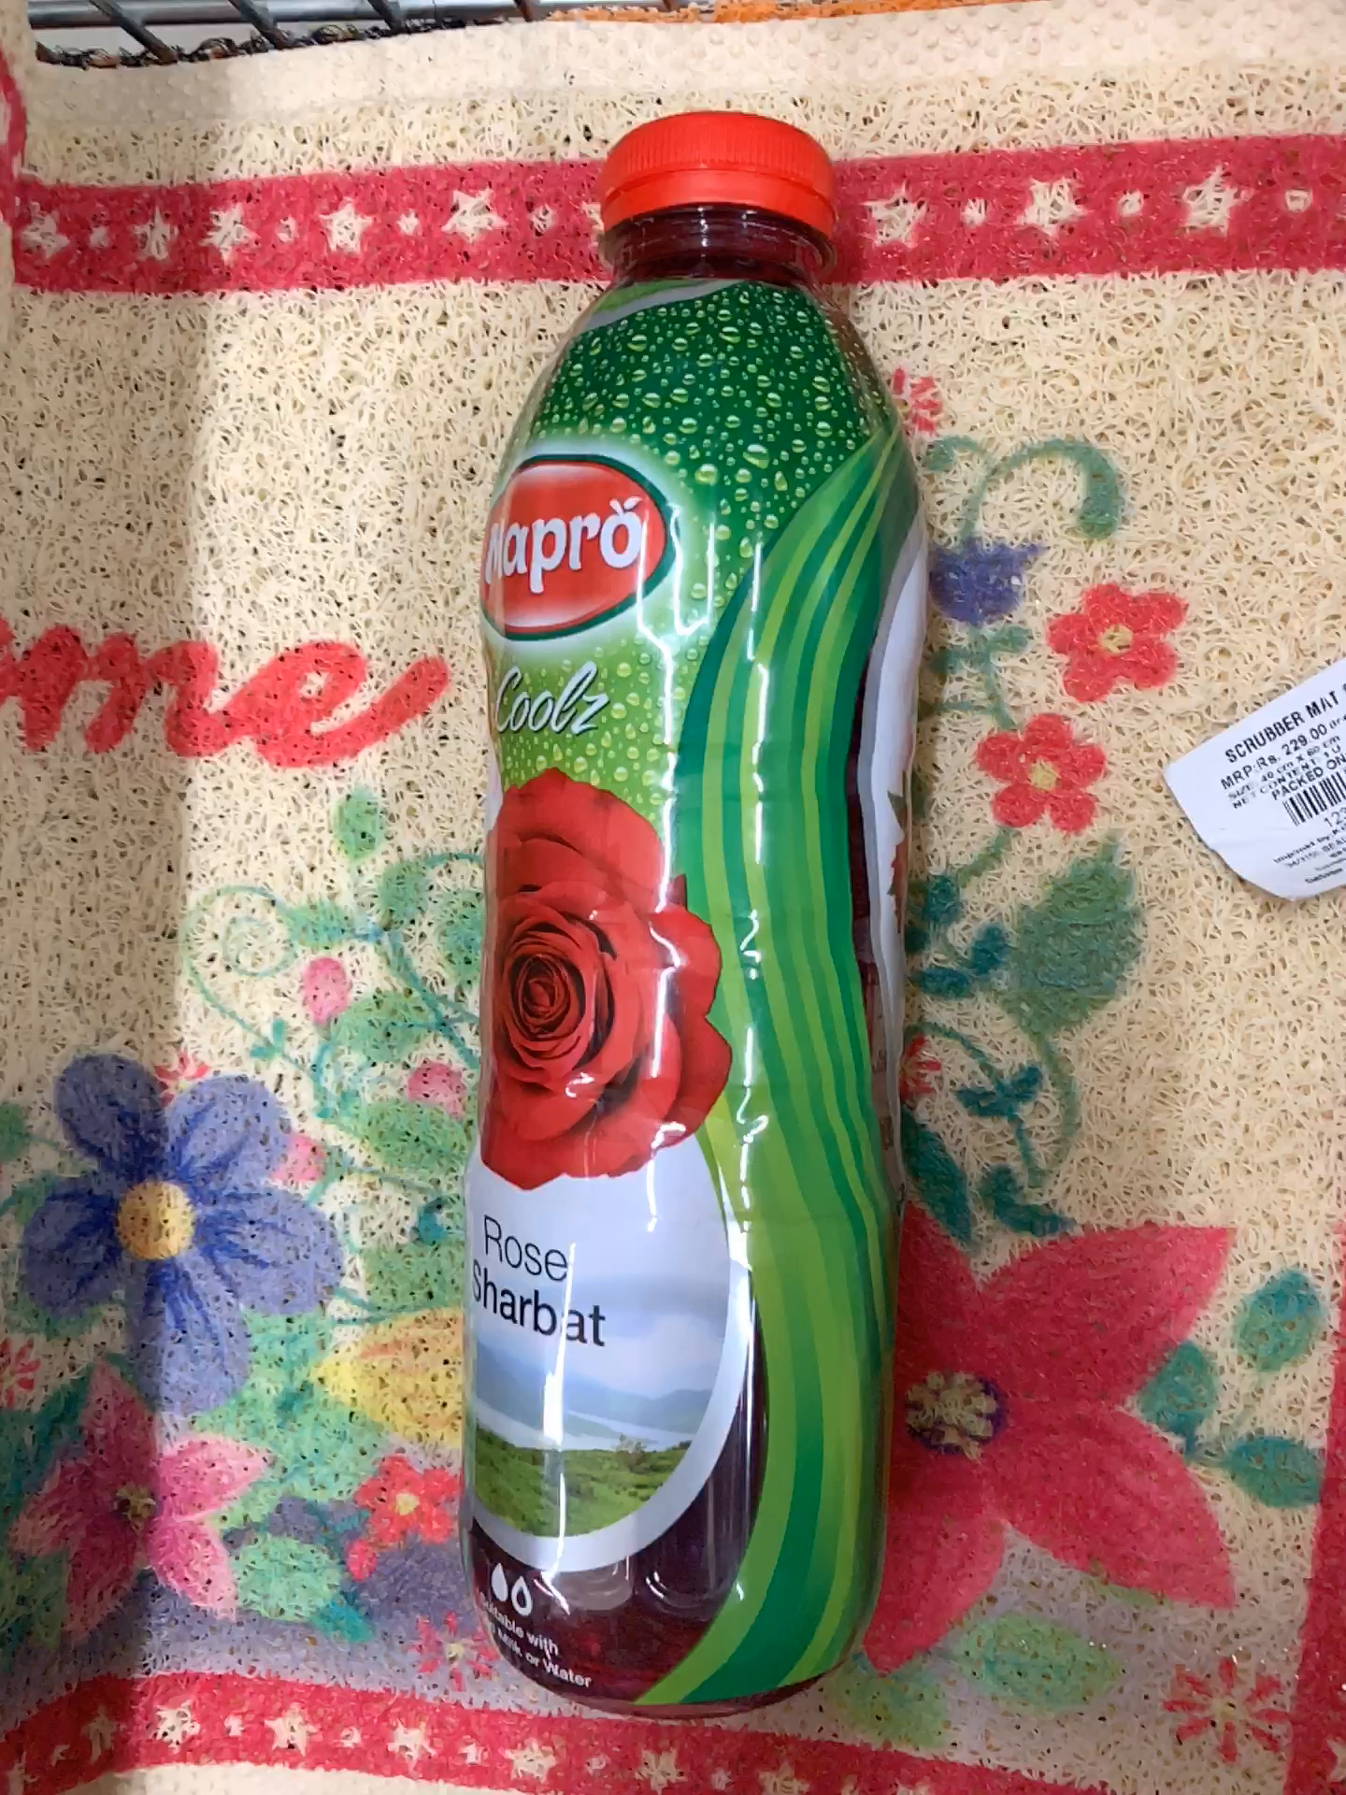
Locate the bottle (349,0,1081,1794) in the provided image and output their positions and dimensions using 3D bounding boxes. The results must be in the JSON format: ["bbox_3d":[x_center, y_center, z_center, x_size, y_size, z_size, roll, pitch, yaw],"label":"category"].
[{"bbox_3d":[0.006,-0.006,0.225,0.080,0.080,0.250,6,97,36],"label":"bottle"}]
